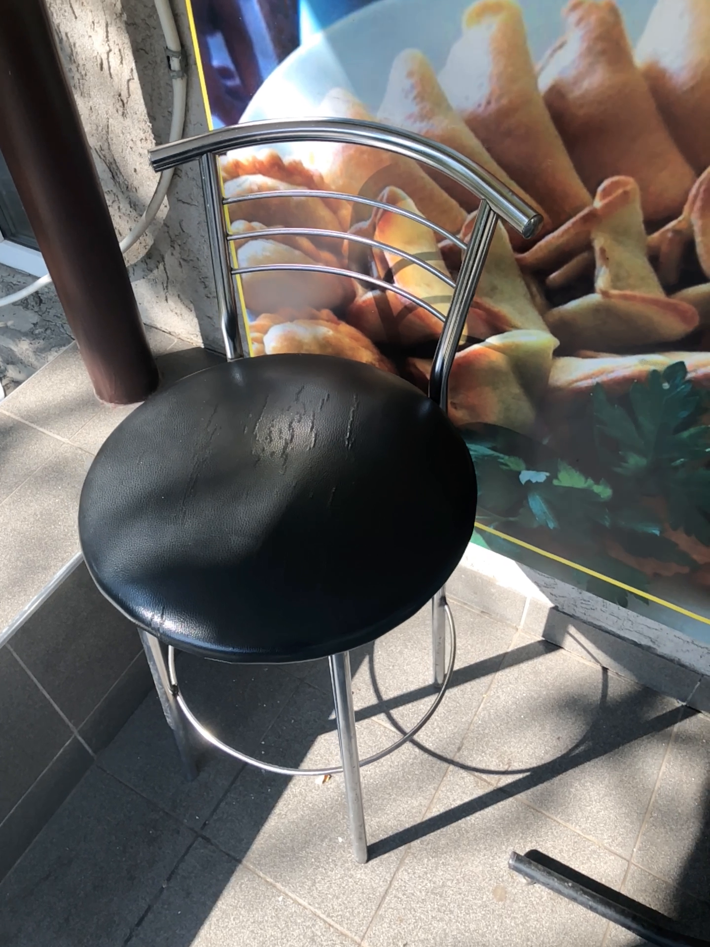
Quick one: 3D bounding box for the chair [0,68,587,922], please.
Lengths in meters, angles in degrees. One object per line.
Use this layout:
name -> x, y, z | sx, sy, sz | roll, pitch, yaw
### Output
chair -> -0.088, 0.110, 0.975 | 0.480, 0.937, 0.482 | 16, 52, 15
